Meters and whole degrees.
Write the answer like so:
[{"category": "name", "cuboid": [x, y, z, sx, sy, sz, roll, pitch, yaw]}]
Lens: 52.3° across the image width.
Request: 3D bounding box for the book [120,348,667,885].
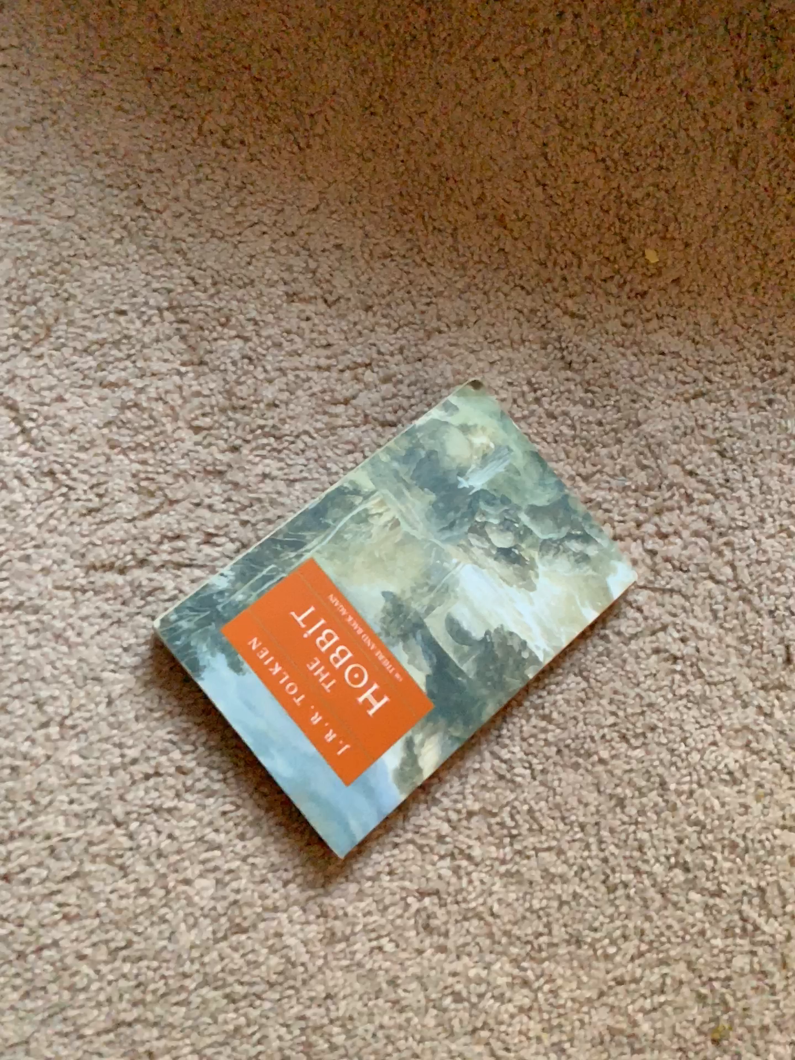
[{"category": "book", "cuboid": [0.003, 0.036, 0.404, 0.220, 0.030, 0.150, -40, 87, -11]}]
